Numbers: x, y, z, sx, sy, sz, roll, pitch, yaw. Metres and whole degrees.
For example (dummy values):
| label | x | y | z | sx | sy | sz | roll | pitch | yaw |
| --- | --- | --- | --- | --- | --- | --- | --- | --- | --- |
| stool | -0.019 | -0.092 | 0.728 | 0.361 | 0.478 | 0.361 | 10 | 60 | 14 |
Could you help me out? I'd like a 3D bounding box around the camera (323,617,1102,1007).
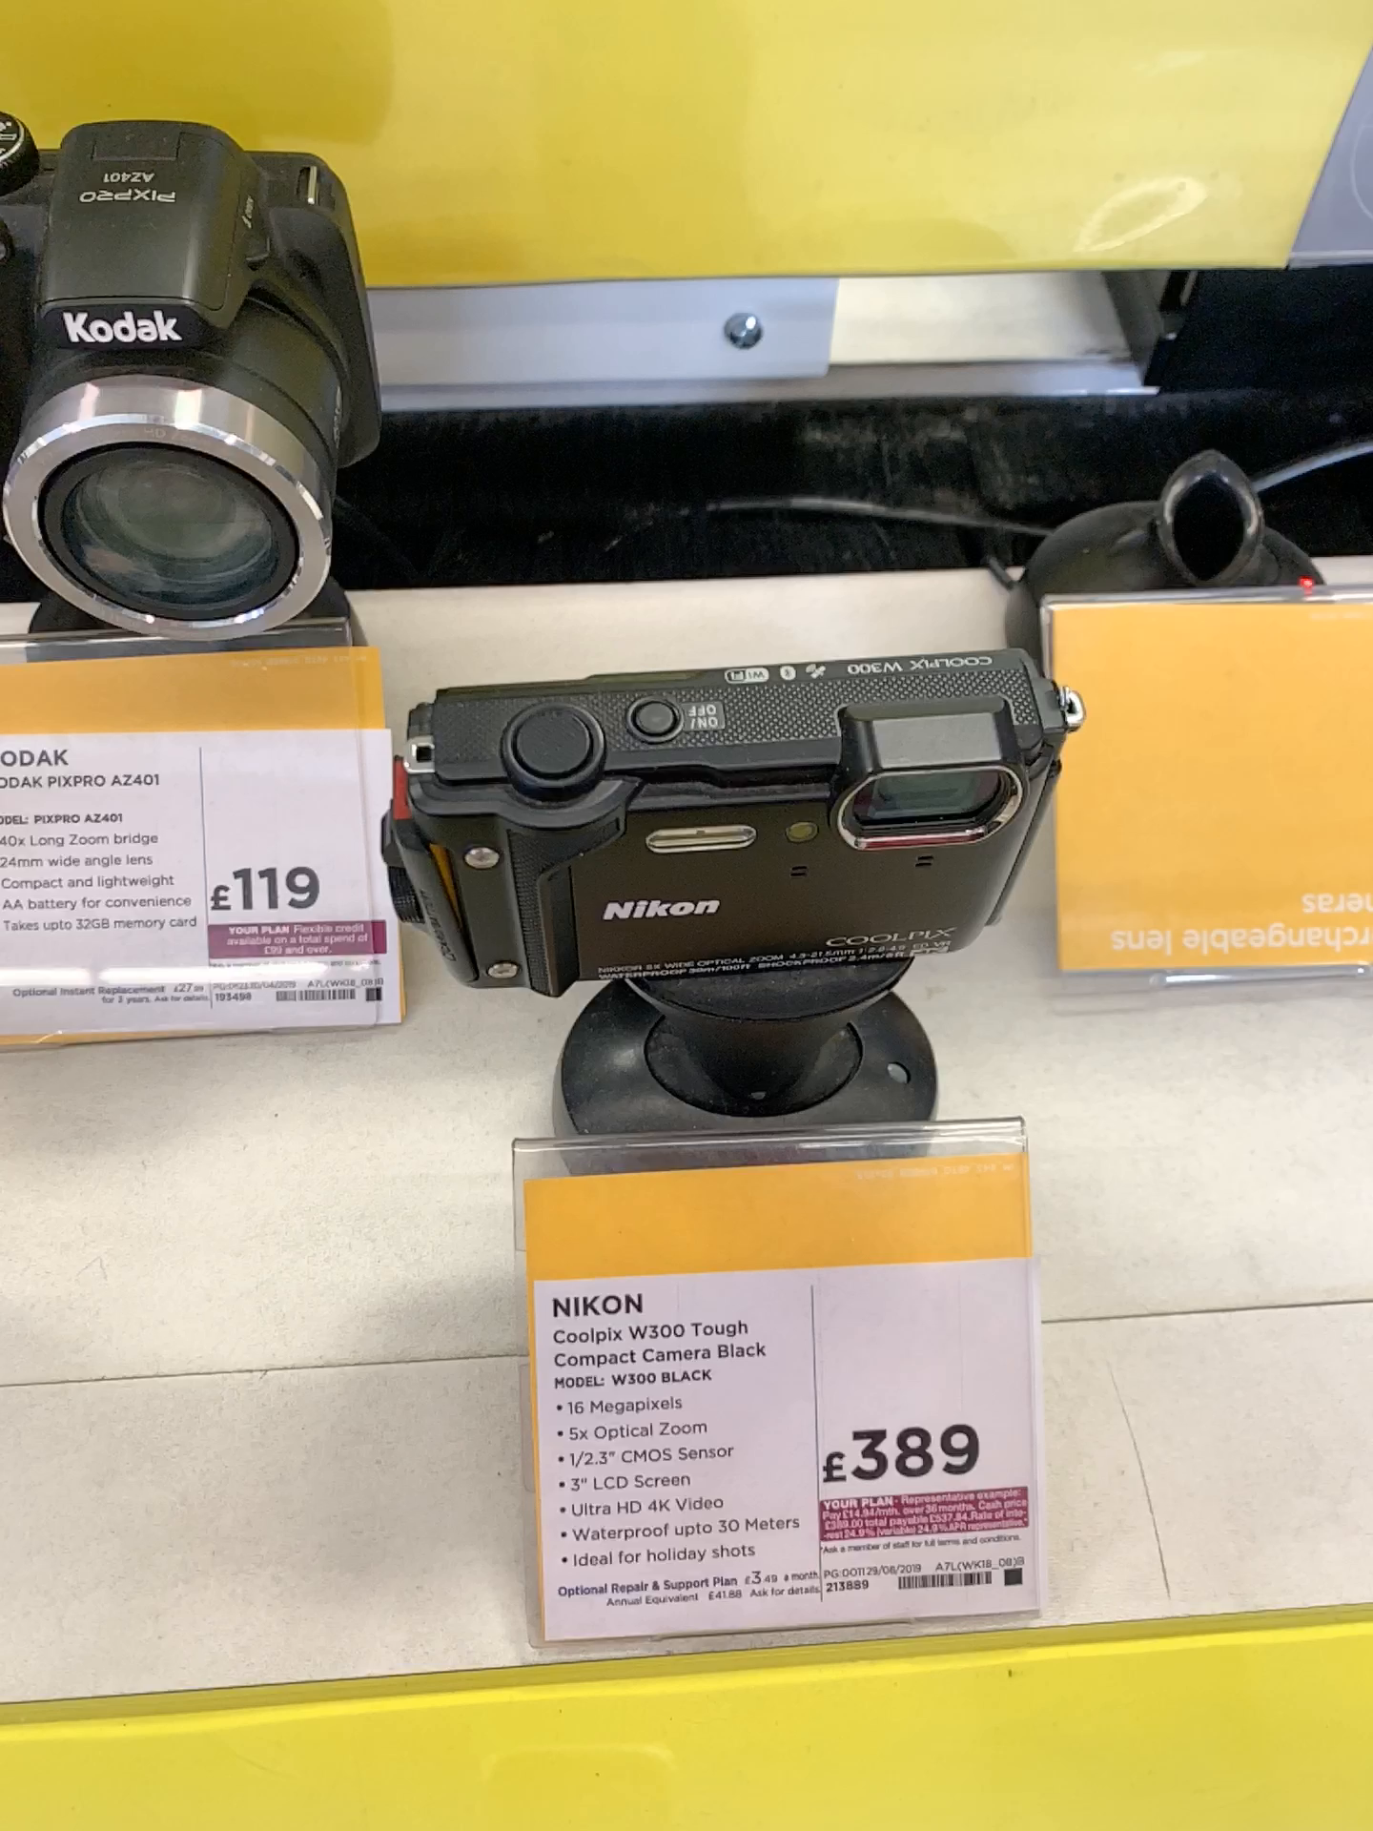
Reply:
| label | x | y | z | sx | sy | sz | roll | pitch | yaw |
| --- | --- | --- | --- | --- | --- | --- | --- | --- | --- |
| camera | 0.003 | -0.016 | 0.255 | 0.120 | 0.070 | 0.030 | -3 | 60 | -3 |
